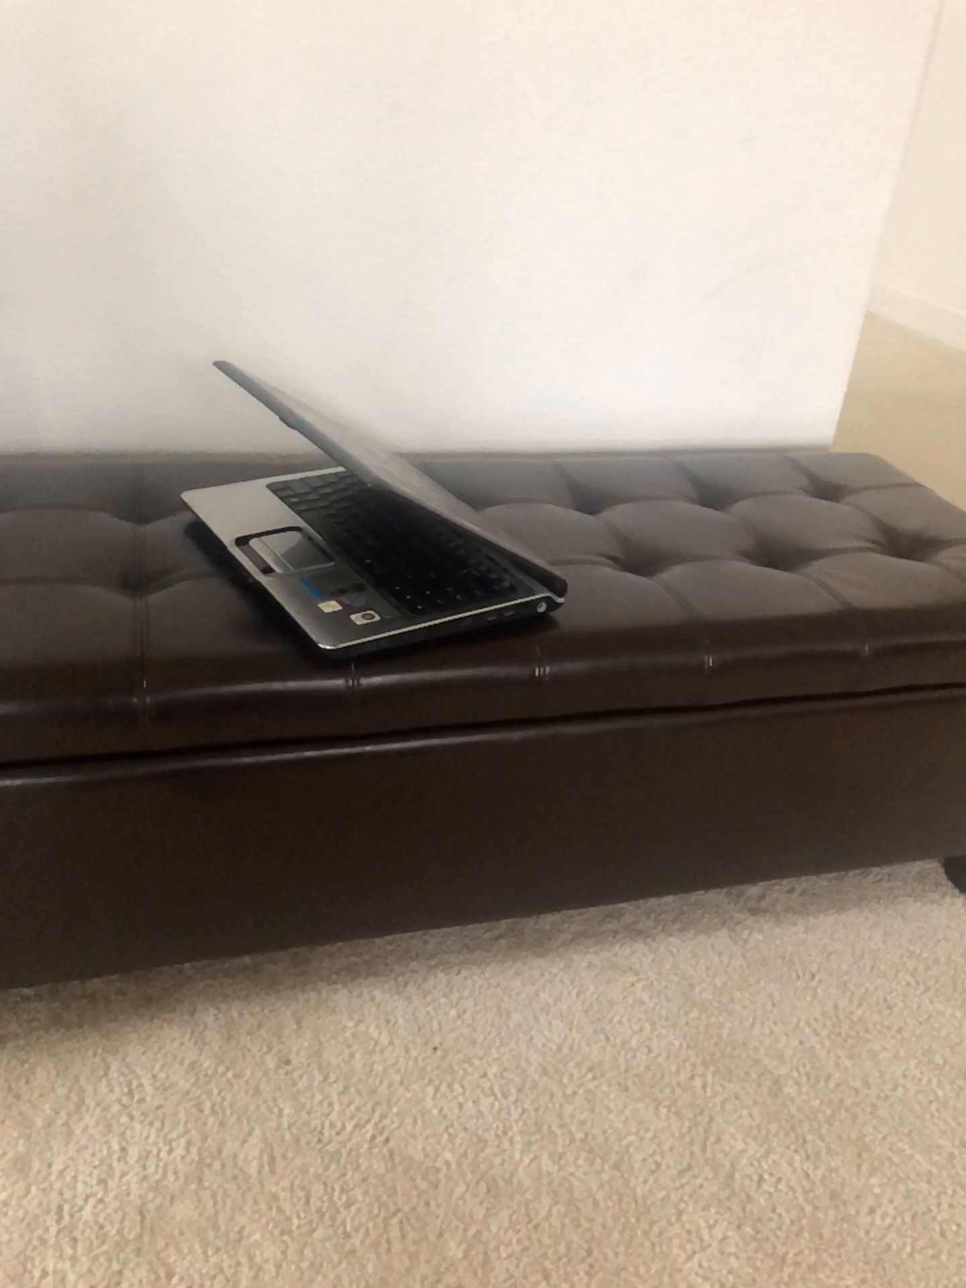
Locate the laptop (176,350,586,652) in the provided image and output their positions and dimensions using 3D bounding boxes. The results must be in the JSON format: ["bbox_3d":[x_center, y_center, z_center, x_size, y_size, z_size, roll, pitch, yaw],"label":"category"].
[{"bbox_3d":[-0.105,-0.148,0.942,0.230,0.122,0.334,-13,34,-30],"label":"laptop"}]
